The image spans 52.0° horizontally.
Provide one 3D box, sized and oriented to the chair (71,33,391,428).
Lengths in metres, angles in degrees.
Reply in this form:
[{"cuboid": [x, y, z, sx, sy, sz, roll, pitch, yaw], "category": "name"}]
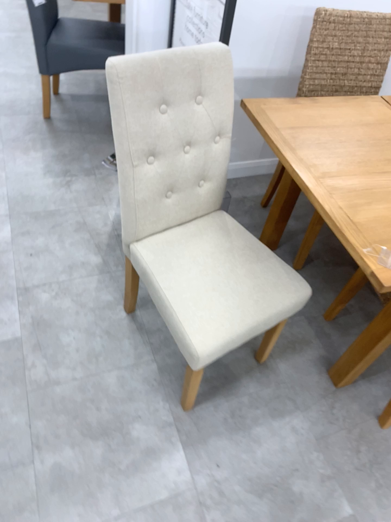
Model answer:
[{"cuboid": [0.015, -0.055, 1.167, 0.422, 0.872, 0.613, -25, 57, -29], "category": "chair"}]
